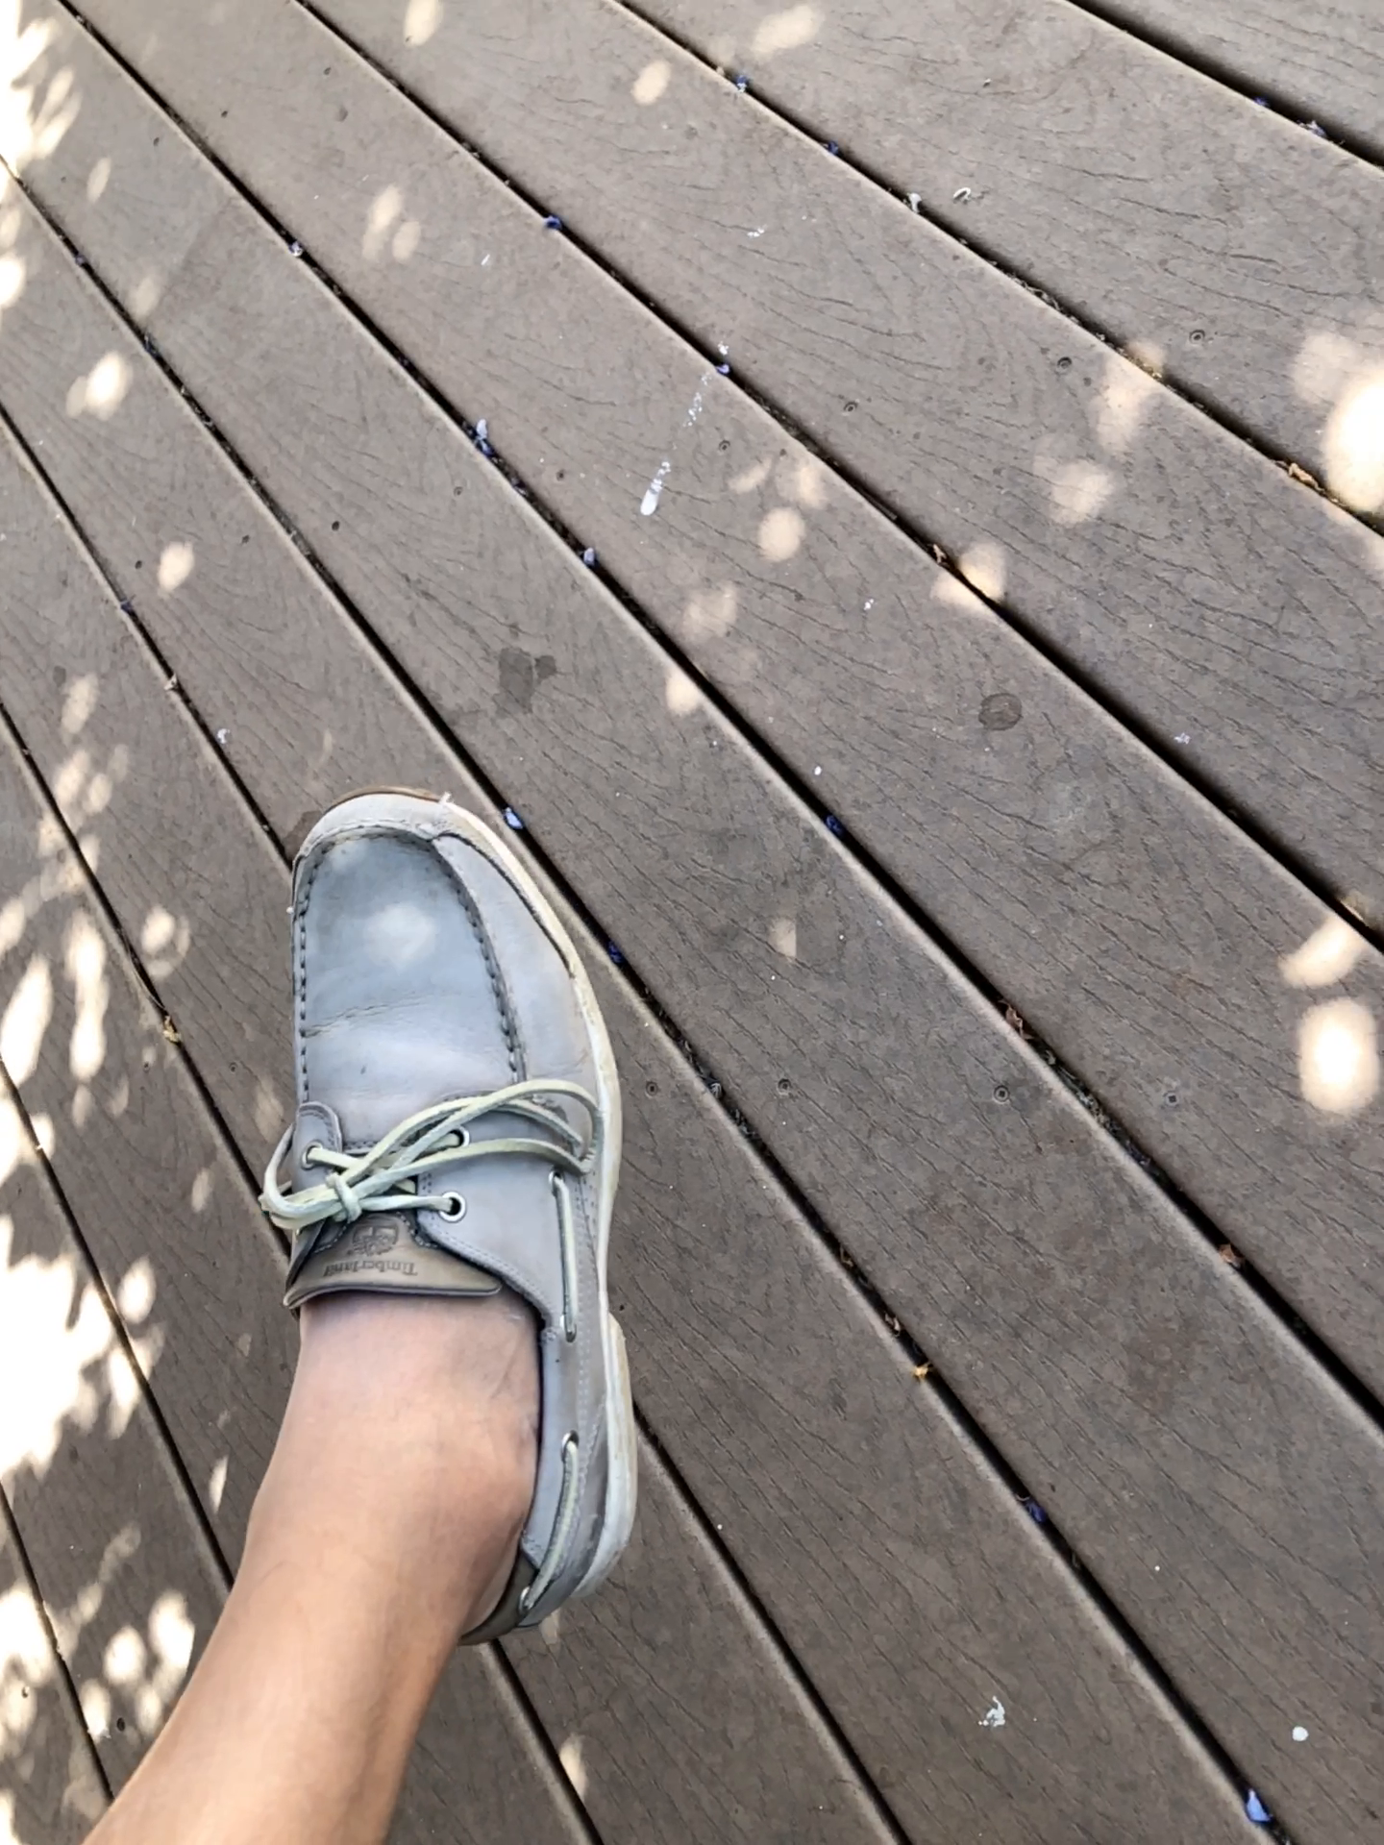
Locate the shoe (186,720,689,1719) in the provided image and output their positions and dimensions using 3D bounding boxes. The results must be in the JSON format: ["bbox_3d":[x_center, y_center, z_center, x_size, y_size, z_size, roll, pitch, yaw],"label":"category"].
[{"bbox_3d":[-0.091,0.097,0.534,0.115,0.085,0.306,-11,82,28],"label":"shoe"}]
